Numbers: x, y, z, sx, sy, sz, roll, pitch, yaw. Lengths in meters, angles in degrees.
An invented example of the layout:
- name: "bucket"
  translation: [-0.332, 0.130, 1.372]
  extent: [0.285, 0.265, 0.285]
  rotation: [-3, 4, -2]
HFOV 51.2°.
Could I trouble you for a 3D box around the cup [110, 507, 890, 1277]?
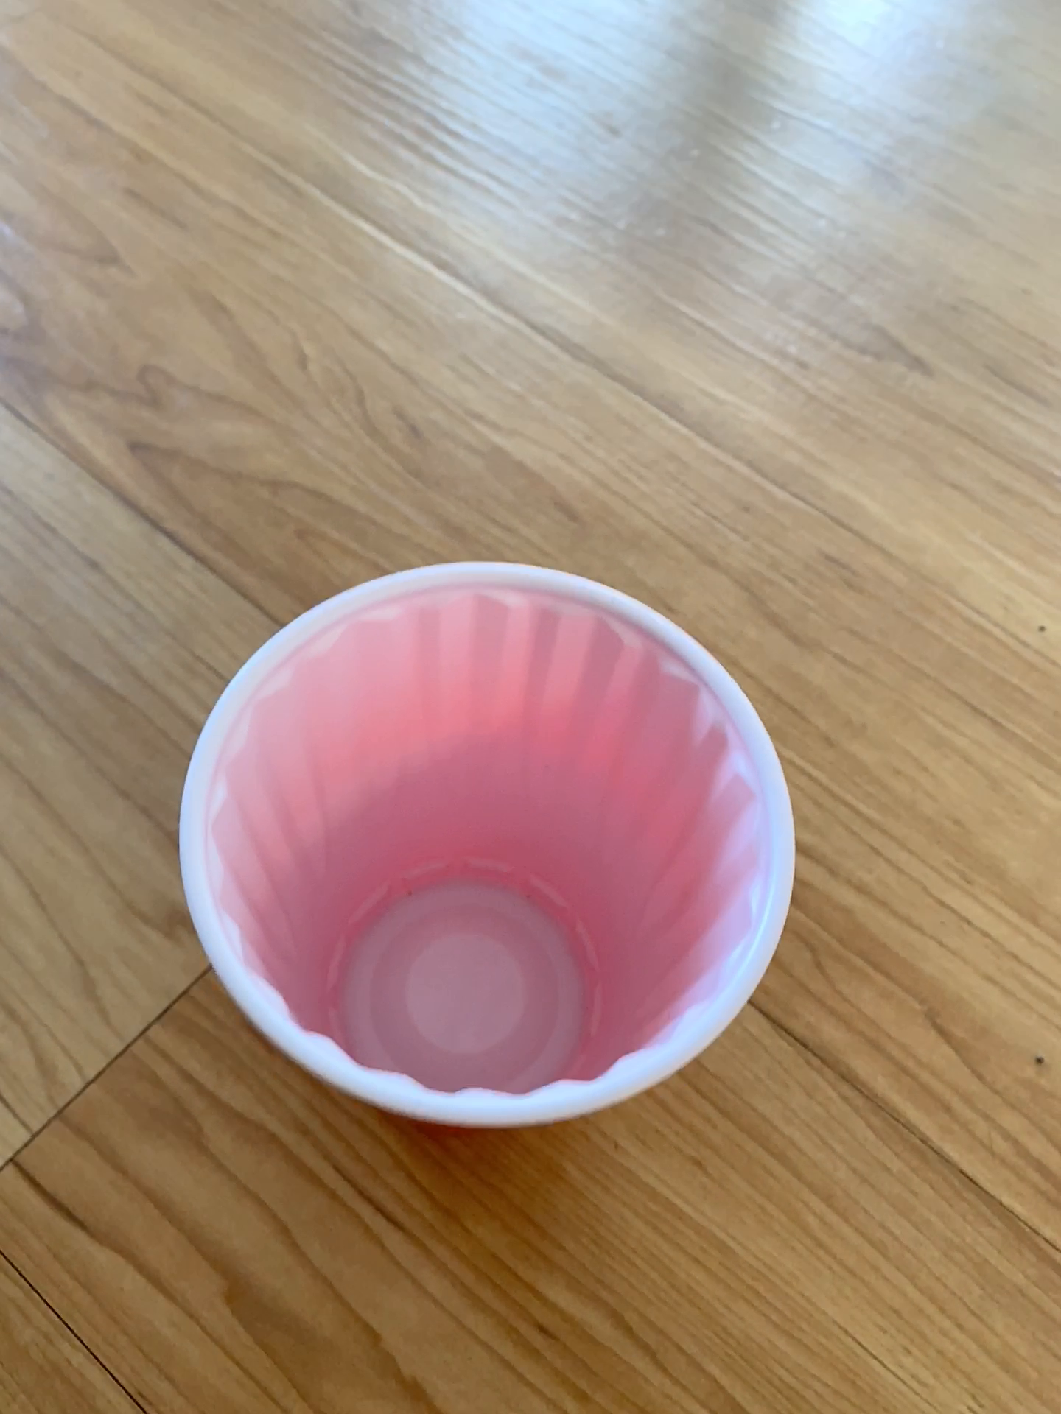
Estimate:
- name: "cup"
  translation: [-0.014, 0.036, 0.208]
  extent: [0.100, 0.090, 0.100]
  rotation: [3, 59, -4]
